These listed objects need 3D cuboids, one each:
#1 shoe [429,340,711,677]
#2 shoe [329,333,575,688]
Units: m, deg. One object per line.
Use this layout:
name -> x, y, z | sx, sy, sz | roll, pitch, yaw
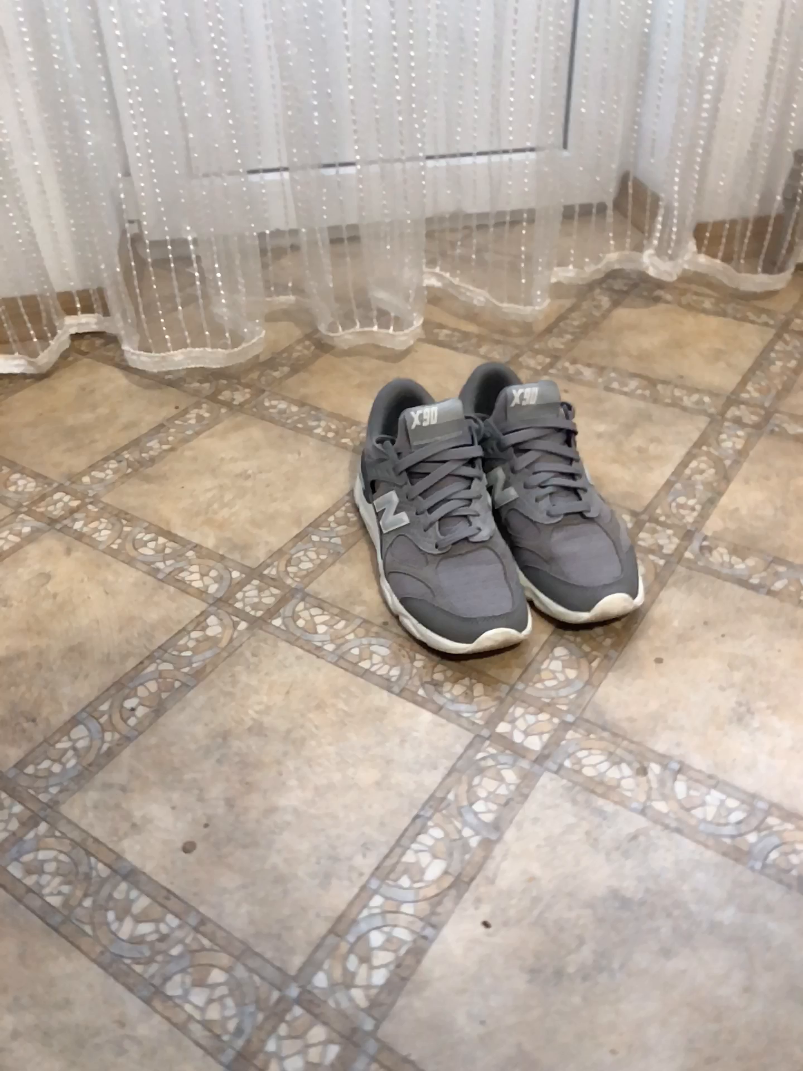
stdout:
shoe -> 0.112, -0.037, 0.692 | 0.100, 0.119, 0.272 | -12, 38, -12
shoe -> 0.024, -0.035, 0.658 | 0.100, 0.119, 0.272 | -10, 38, -10
